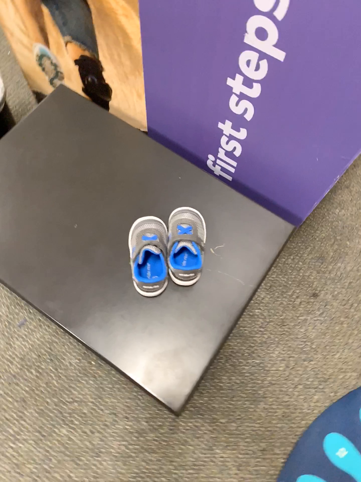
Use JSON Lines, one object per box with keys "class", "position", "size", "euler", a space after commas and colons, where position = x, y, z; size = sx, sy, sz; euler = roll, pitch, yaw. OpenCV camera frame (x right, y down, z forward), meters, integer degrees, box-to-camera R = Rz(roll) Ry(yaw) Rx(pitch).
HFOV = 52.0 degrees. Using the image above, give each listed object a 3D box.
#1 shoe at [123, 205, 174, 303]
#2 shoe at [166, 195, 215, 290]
{"class": "shoe", "position": [-0.052, 0.021, 0.591], "size": [0.070, 0.060, 0.140], "euler": [-3, 69, -4]}
{"class": "shoe", "position": [0.013, 0.002, 0.597], "size": [0.070, 0.060, 0.140], "euler": [-1, 68, -3]}
